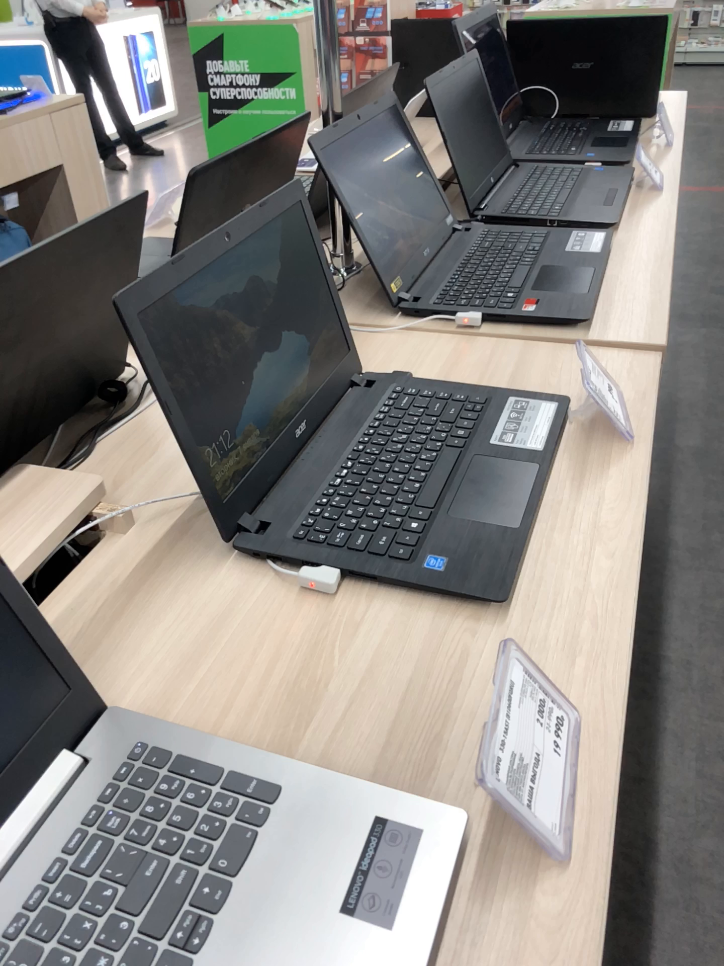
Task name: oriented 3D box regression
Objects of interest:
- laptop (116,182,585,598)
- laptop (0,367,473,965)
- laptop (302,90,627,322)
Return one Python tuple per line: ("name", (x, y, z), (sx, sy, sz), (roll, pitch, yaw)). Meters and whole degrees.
("laptop", (0.023, -0.117, 0.742), (0.301, 0.223, 0.344), (9, 36, 18))
("laptop", (-0.159, 0.166, 0.312), (0.337, 0.236, 0.364), (10, 36, 19))
("laptop", (0.171, -0.432, 1.182), (0.376, 0.216, 0.381), (9, 36, 17))
